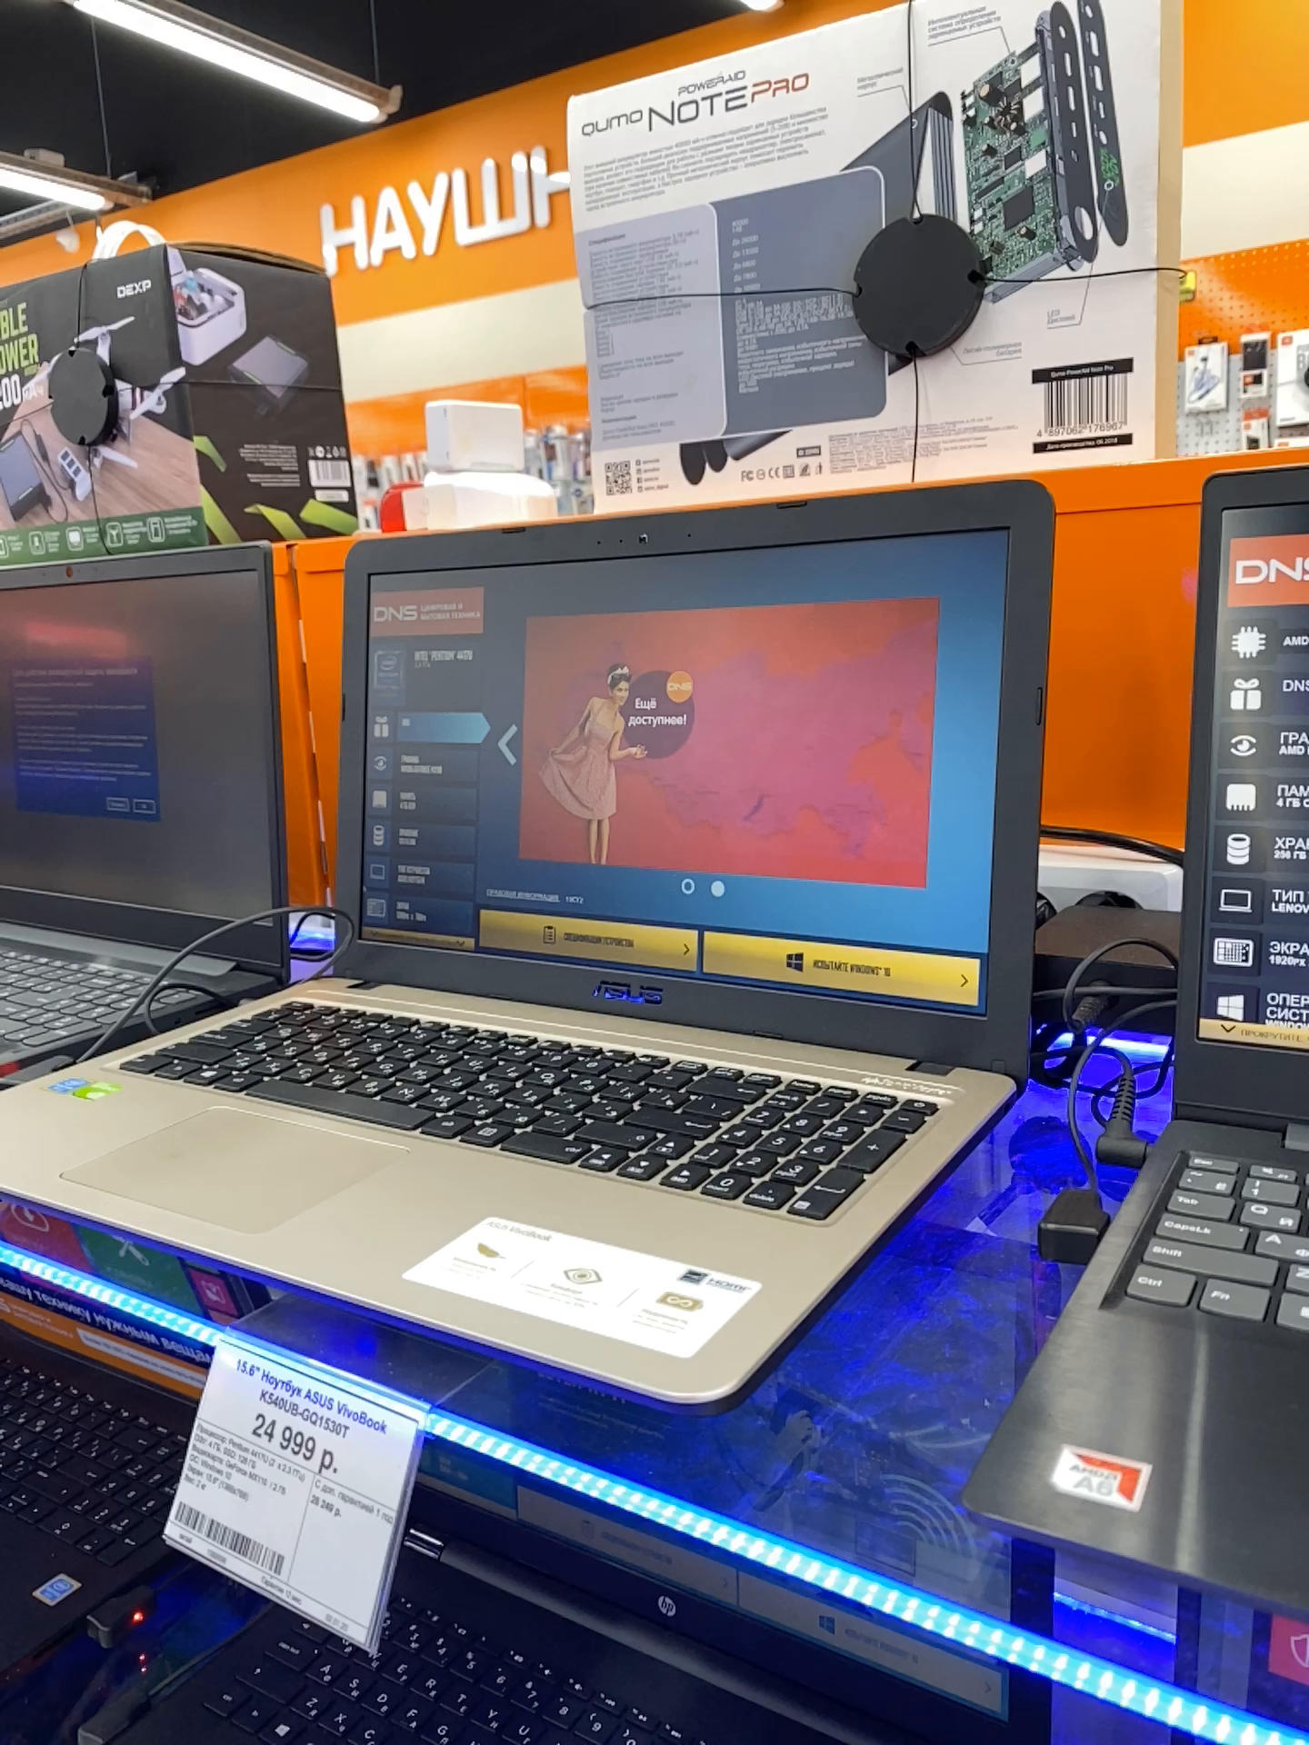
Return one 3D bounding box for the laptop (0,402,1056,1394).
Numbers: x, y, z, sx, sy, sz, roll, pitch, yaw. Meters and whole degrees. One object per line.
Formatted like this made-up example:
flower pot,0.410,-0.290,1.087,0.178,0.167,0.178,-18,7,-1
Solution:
laptop,-0.073,-0.025,0.528,0.377,0.231,0.293,4,12,32
